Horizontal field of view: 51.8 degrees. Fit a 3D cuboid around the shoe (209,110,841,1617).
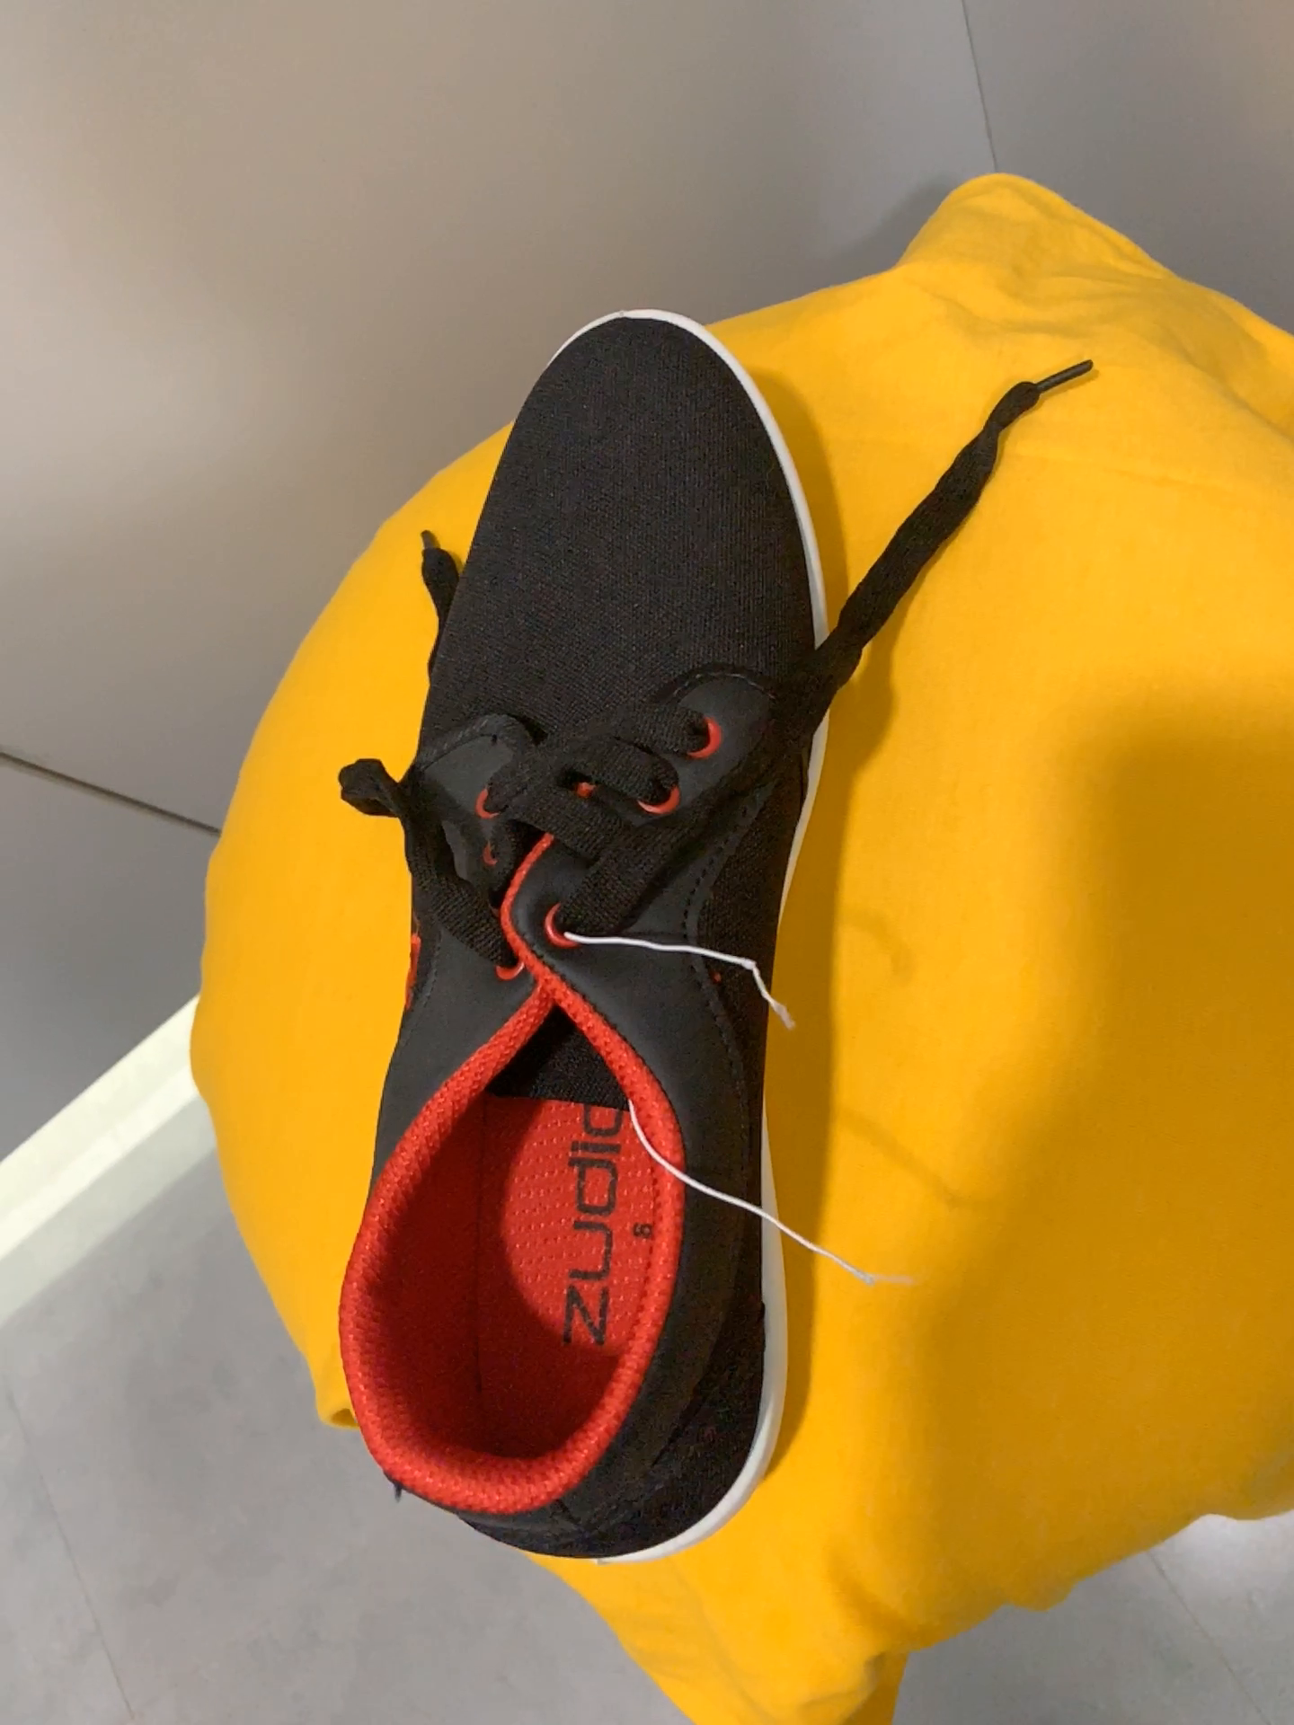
[{"bbox_3d":[-0.014,-0.003,0.295,0.090,0.100,0.270,-3,77,22],"label":"shoe"}]
